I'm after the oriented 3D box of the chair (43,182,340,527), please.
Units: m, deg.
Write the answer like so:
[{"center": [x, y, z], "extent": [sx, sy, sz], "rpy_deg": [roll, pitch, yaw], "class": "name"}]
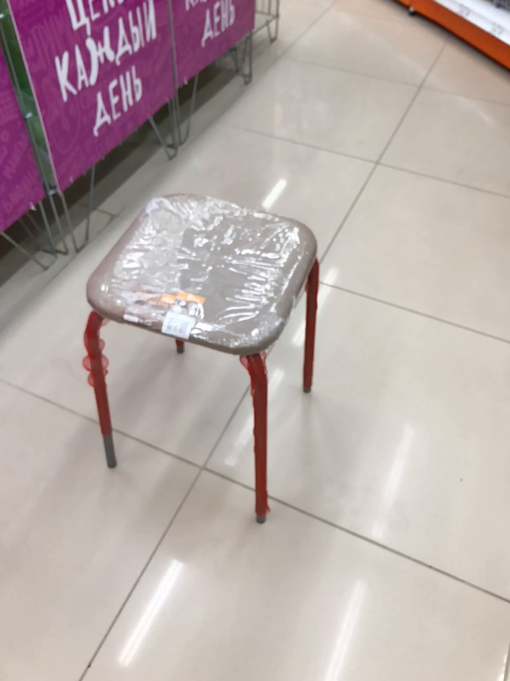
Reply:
[{"center": [-0.079, 0.033, 0.999], "extent": [0.330, 0.437, 0.332], "rpy_deg": [16, 50, 12], "class": "chair"}]
